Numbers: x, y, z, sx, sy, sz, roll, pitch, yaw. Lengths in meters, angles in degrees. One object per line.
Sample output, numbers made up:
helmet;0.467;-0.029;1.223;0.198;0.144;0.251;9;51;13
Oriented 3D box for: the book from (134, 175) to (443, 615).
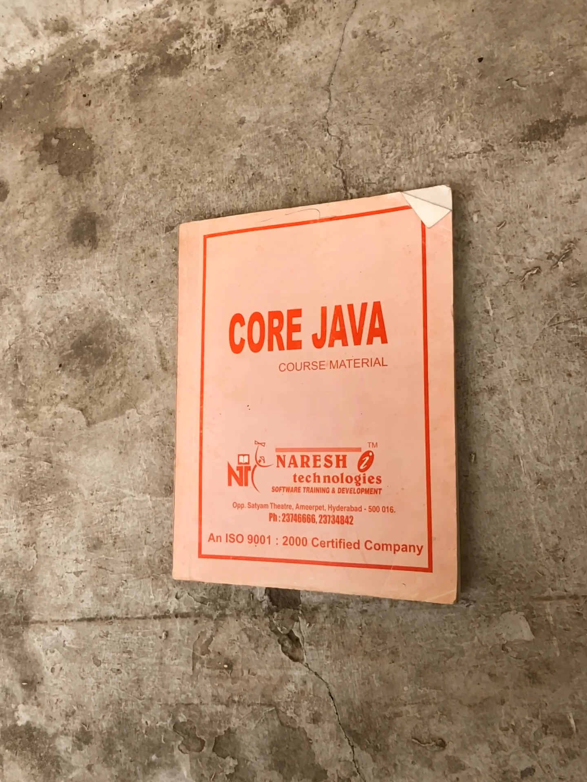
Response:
book;-0.008;0.003;0.431;0.200;0.030;0.260;-3;82;22
